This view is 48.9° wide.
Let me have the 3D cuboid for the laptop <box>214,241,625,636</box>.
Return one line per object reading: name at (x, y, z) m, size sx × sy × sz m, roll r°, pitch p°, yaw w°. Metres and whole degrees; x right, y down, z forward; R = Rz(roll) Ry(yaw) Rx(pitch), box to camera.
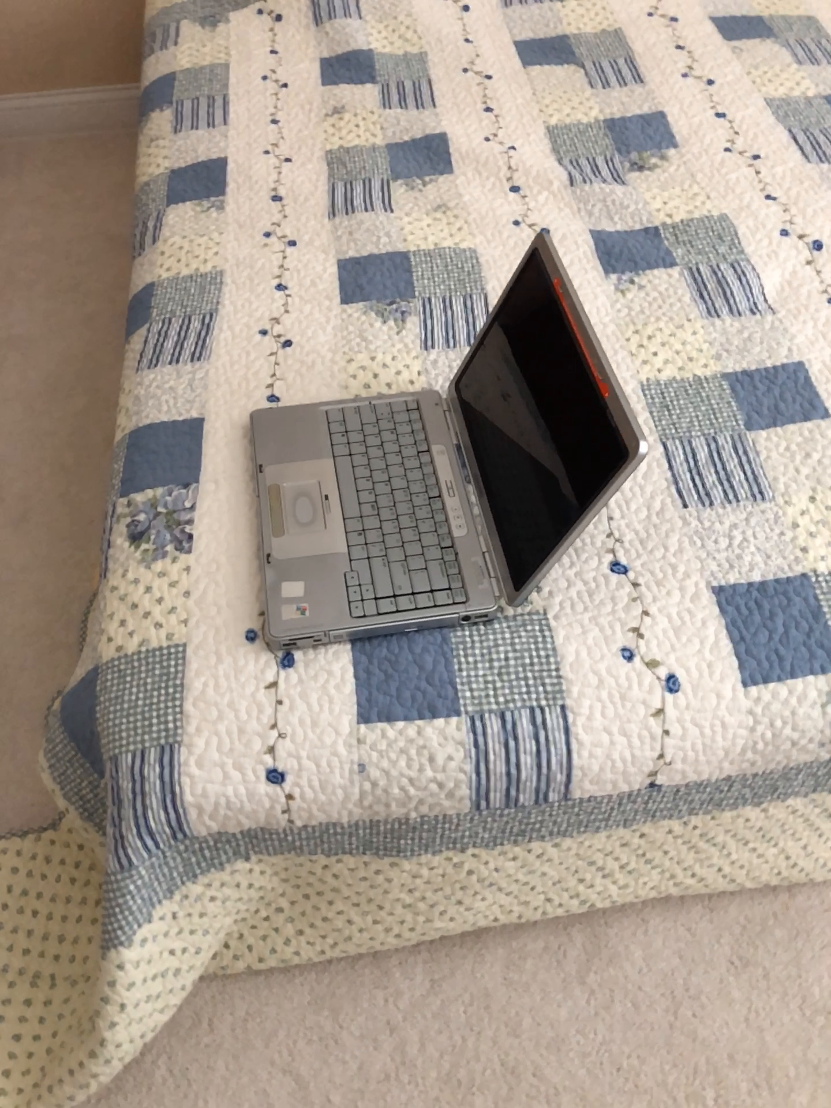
laptop at (-0.011, -0.125, 0.912) m, size 0.326 × 0.193 × 0.323 m, roll -7°, pitch 51°, yaw -6°
